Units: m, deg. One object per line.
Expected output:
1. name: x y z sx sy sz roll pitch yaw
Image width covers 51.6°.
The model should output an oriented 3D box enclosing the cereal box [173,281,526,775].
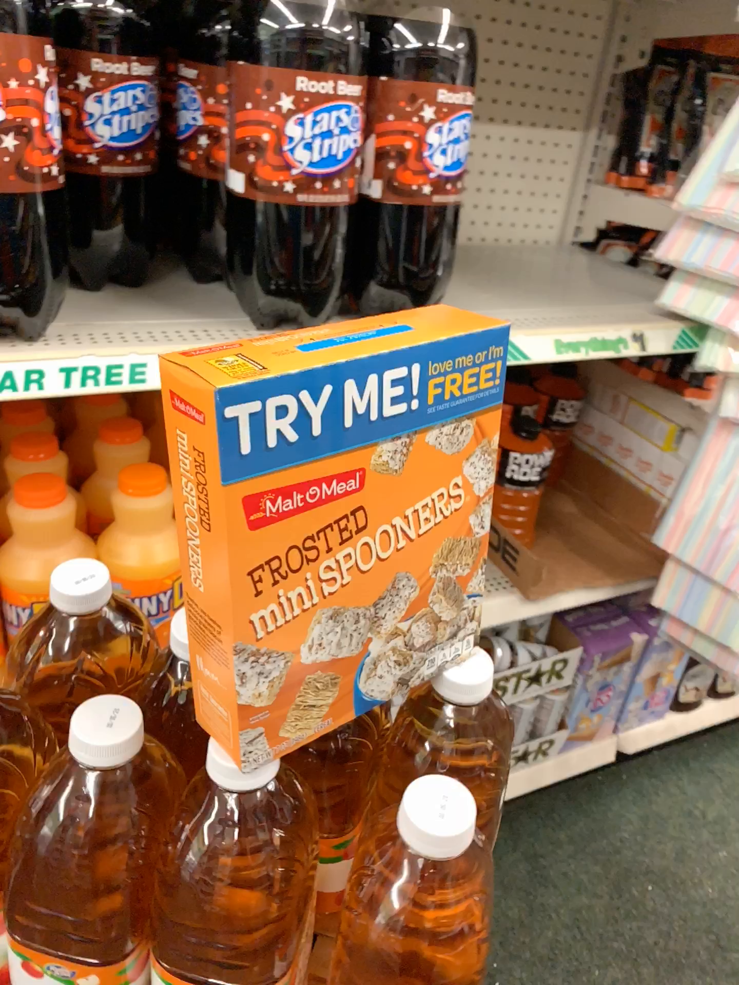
1. cereal box: -0.006 0.011 0.411 0.170 0.219 0.060 -18 32 -38
